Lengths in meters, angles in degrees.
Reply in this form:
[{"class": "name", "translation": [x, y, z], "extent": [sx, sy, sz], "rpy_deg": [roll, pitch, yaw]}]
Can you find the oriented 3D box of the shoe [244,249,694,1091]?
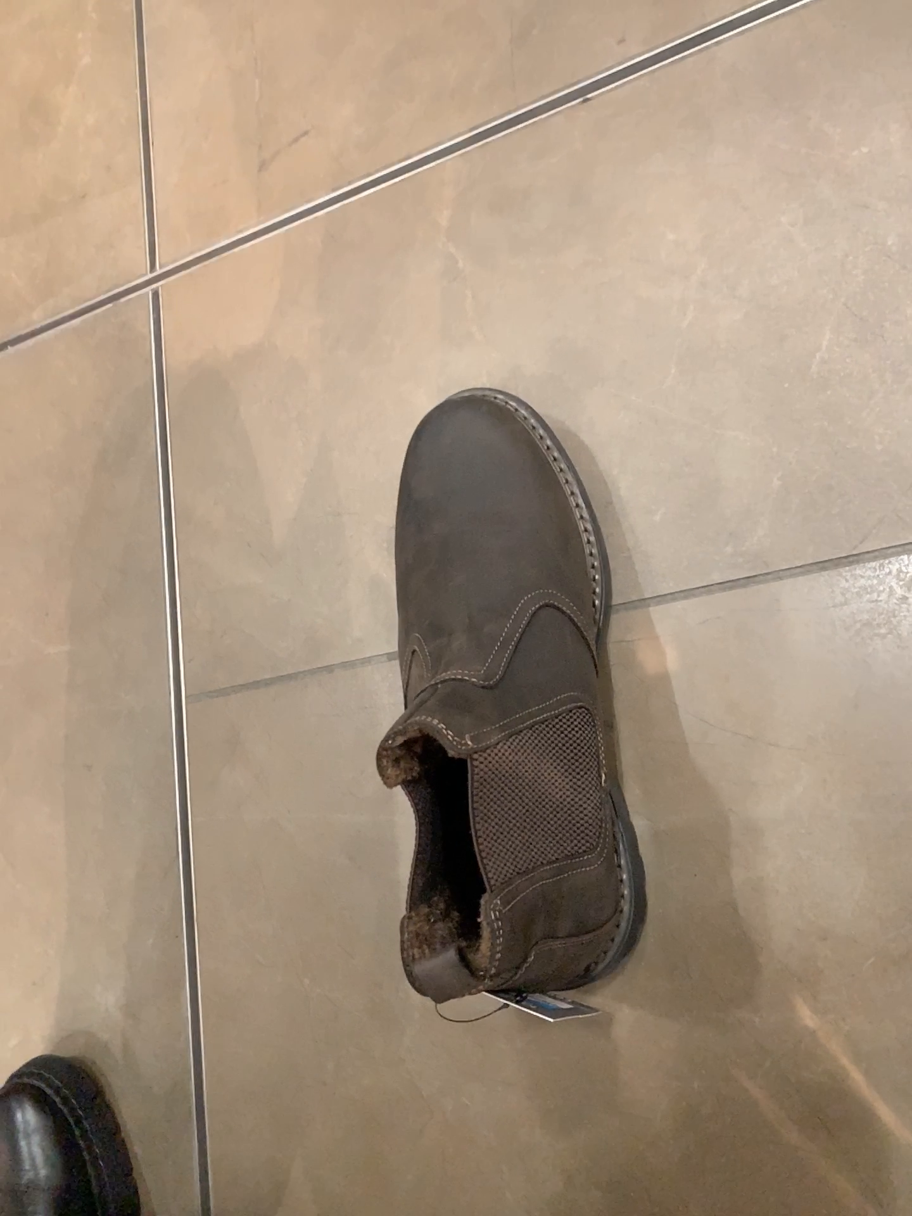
[{"class": "shoe", "translation": [0.010, 0.030, 0.427], "extent": [0.114, 0.166, 0.304], "rpy_deg": [-12, 76, 23]}]
